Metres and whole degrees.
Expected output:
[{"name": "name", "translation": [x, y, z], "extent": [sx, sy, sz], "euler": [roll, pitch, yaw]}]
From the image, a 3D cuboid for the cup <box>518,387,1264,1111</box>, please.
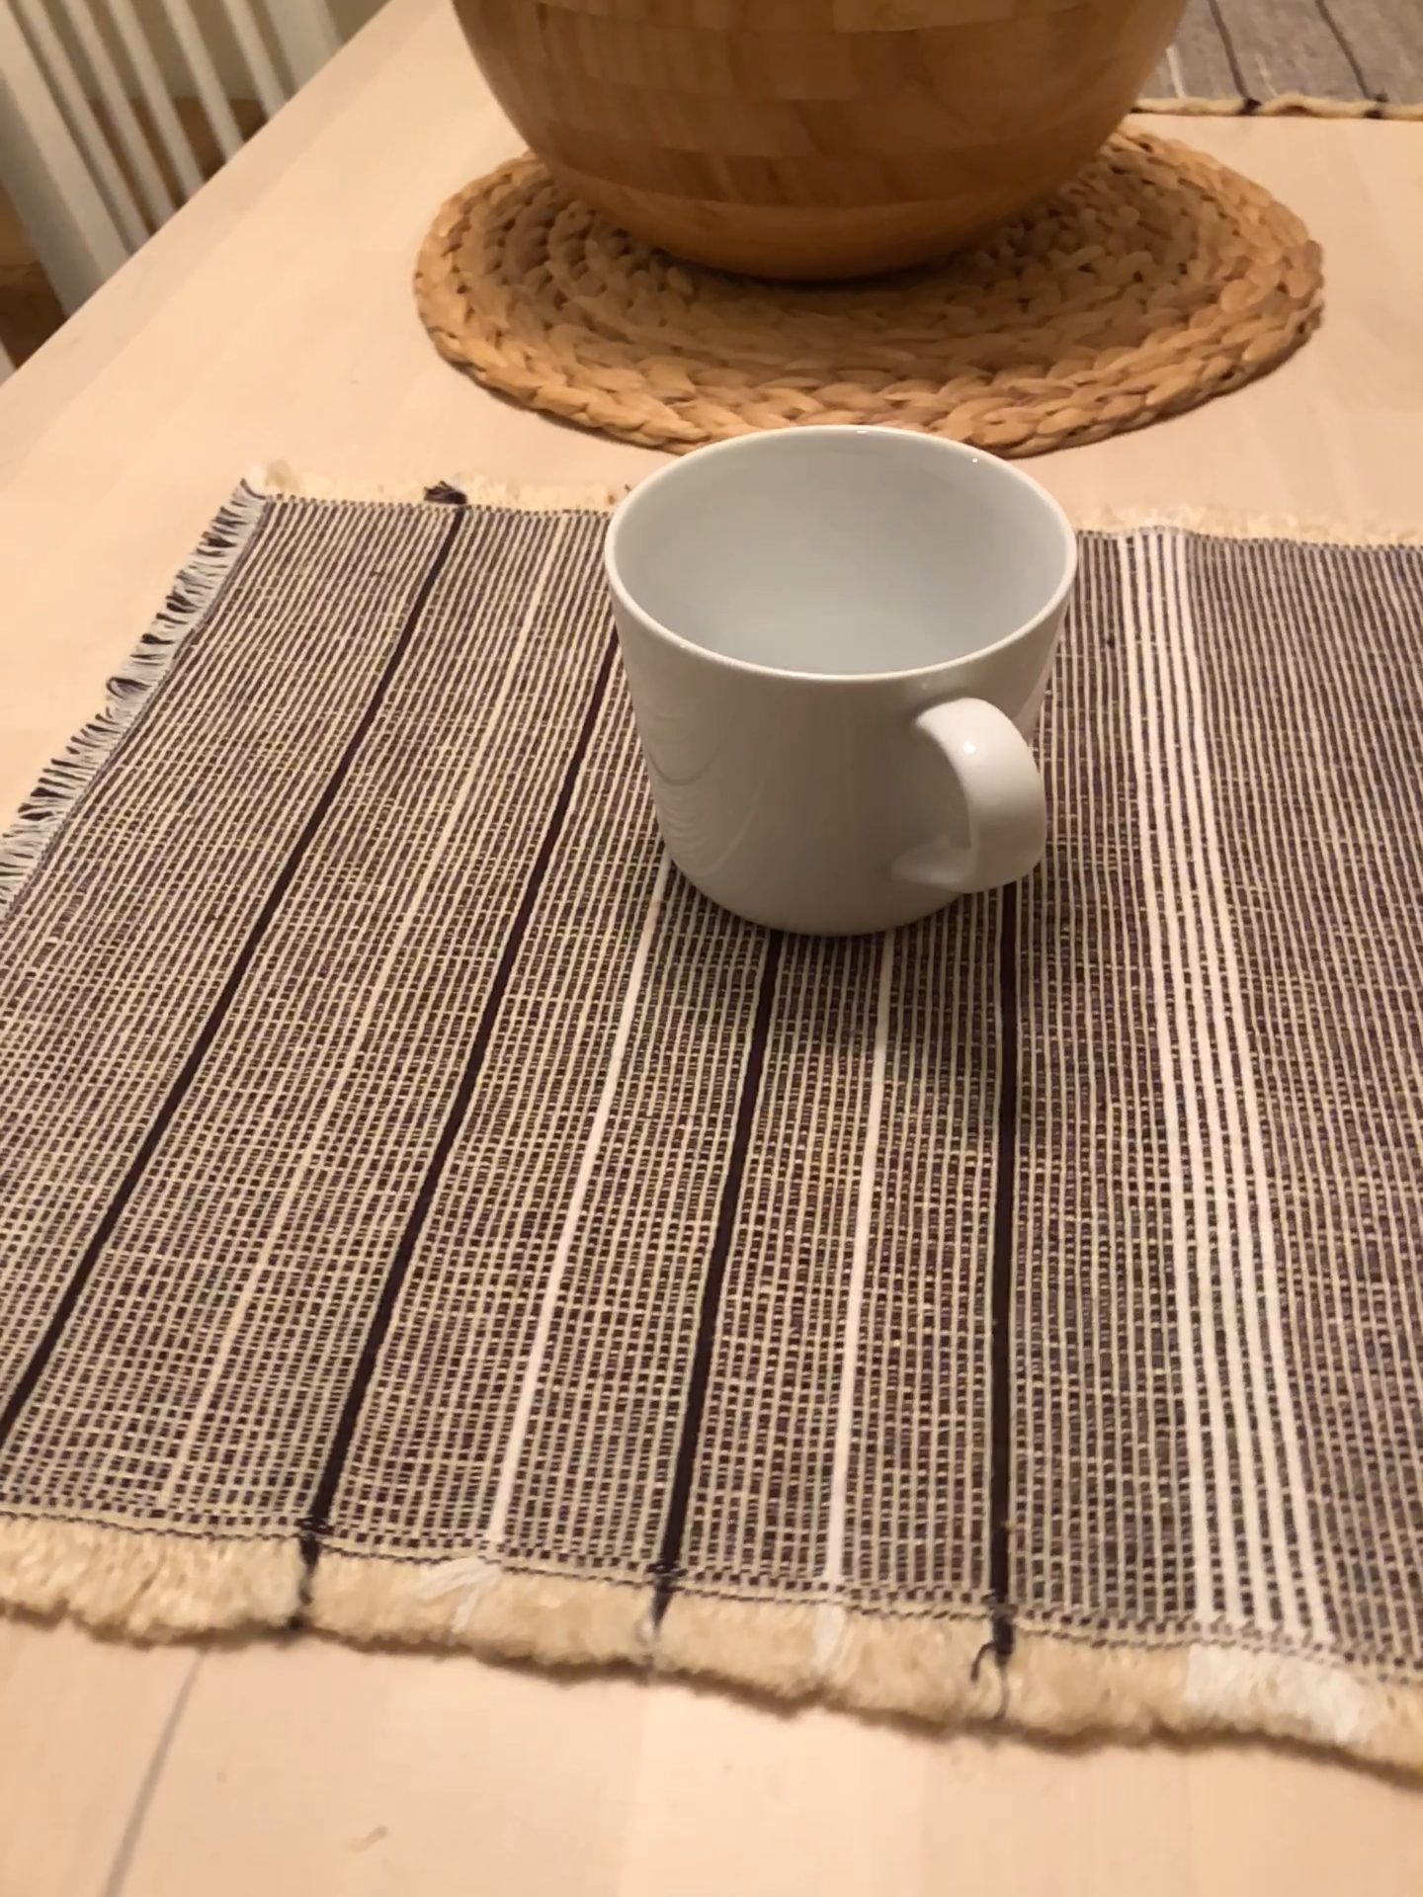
[{"name": "cup", "translation": [0.029, -0.052, 0.346], "extent": [0.100, 0.070, 0.141], "euler": [-16, 46, -14]}]
